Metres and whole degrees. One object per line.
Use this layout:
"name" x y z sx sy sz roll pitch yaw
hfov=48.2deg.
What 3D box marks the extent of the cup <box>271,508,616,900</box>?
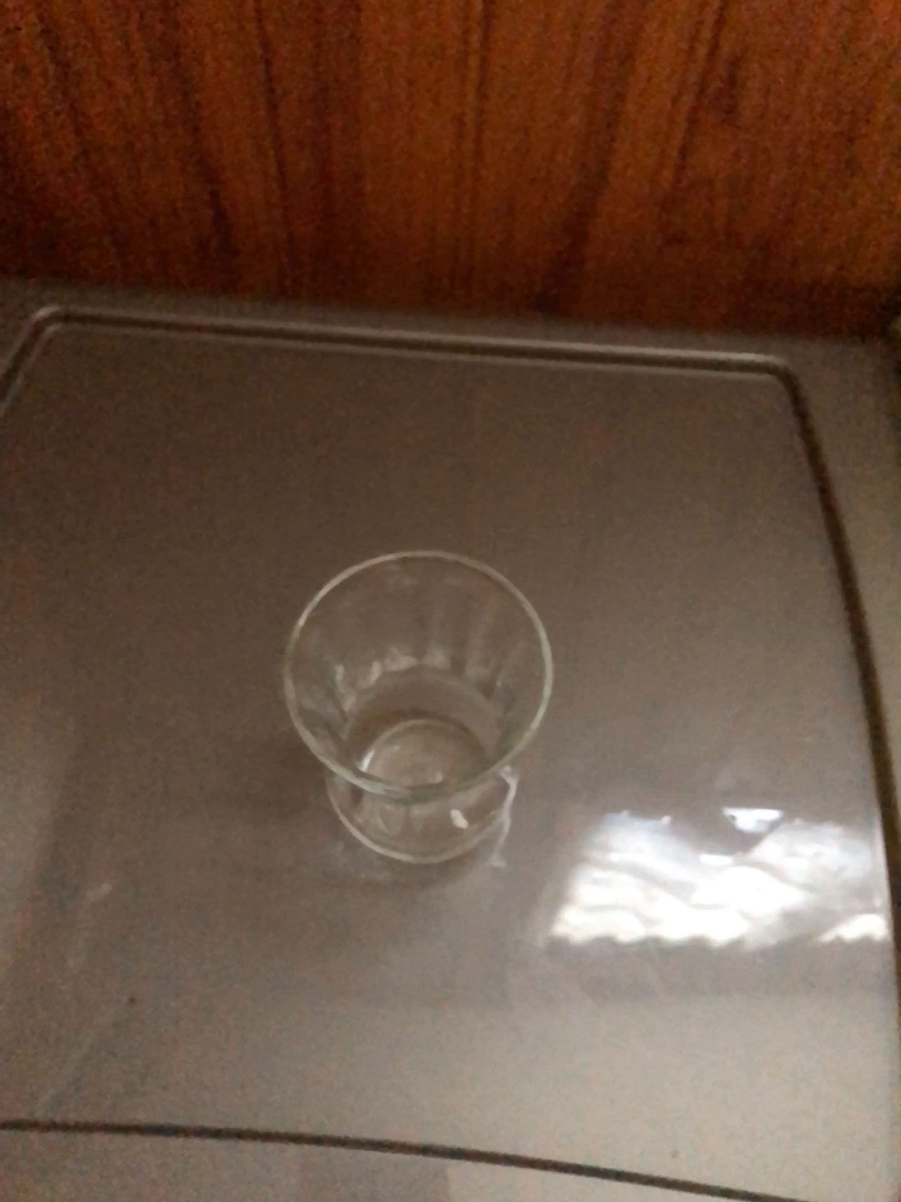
"cup" -0.004 0.030 0.259 0.060 0.080 0.060 1 62 -2
